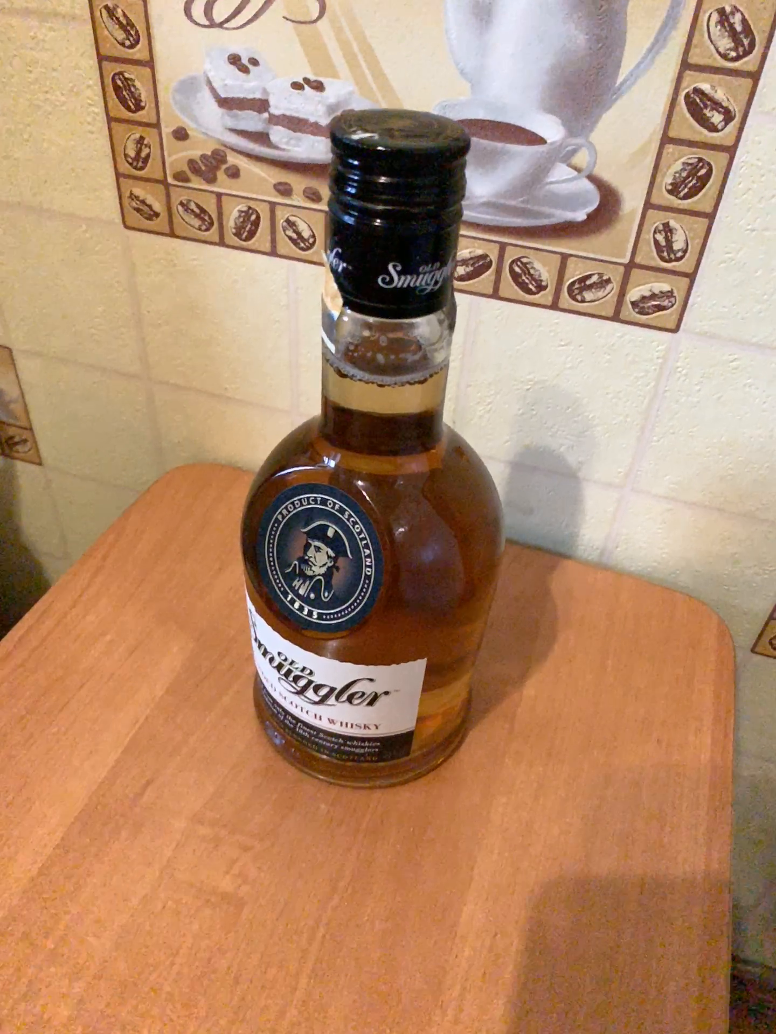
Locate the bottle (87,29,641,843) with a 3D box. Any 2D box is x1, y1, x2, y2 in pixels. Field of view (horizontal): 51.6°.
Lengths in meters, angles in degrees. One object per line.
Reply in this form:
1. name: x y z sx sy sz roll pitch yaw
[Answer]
1. bottle: -0.011 -0.012 0.258 0.100 0.229 0.080 26 44 23
